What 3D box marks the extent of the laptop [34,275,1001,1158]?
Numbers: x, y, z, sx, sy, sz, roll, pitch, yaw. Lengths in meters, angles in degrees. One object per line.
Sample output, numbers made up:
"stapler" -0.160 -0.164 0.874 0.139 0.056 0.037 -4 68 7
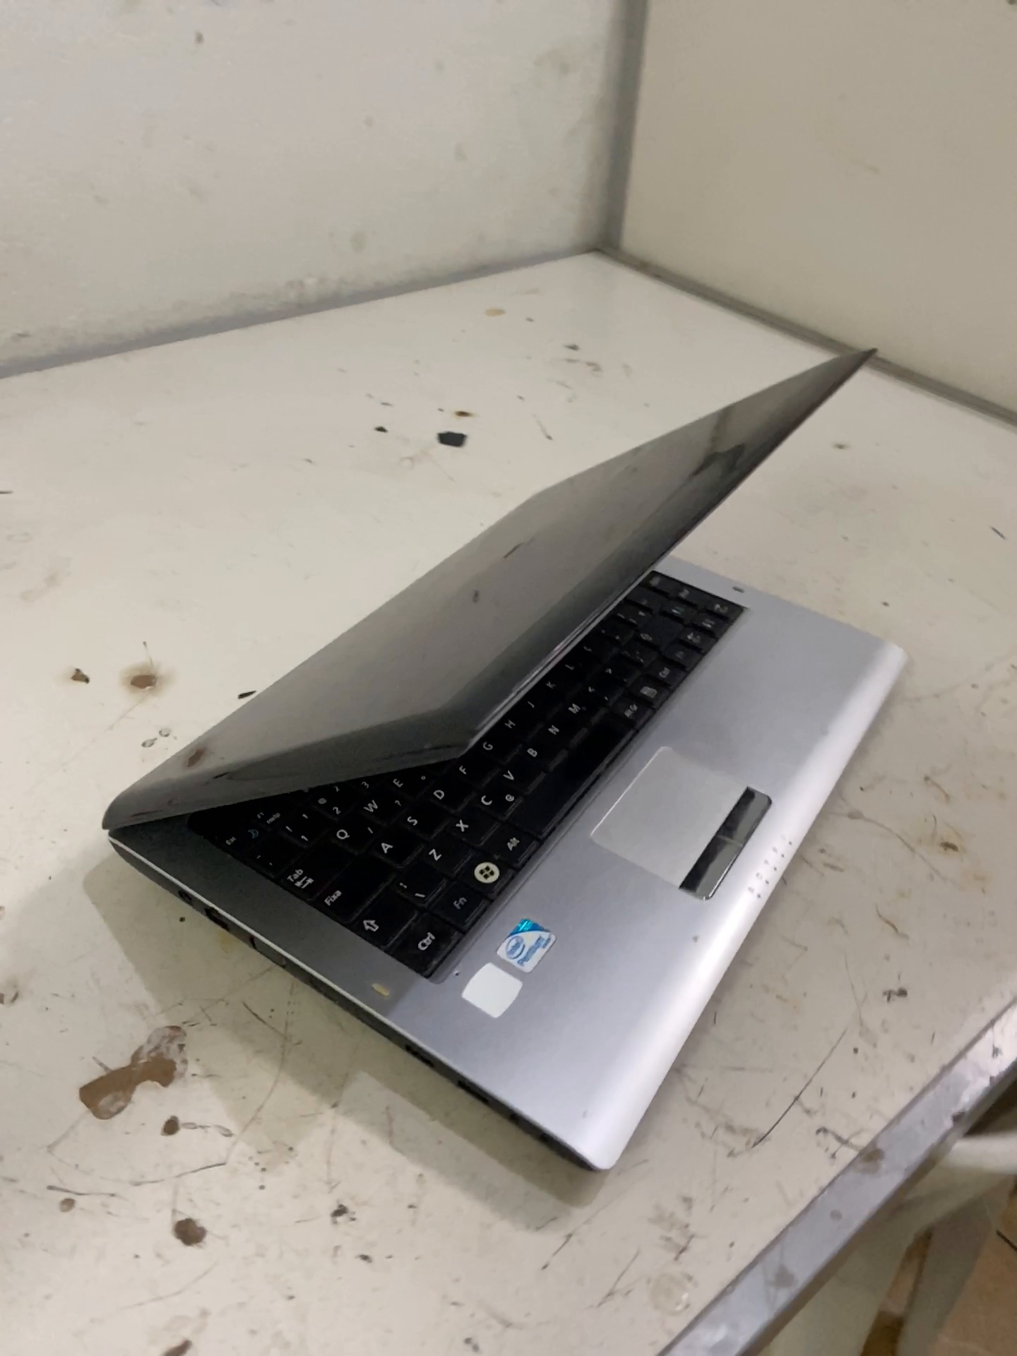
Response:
"laptop" 0.029 -0.032 0.457 0.241 0.152 0.335 25 42 23
